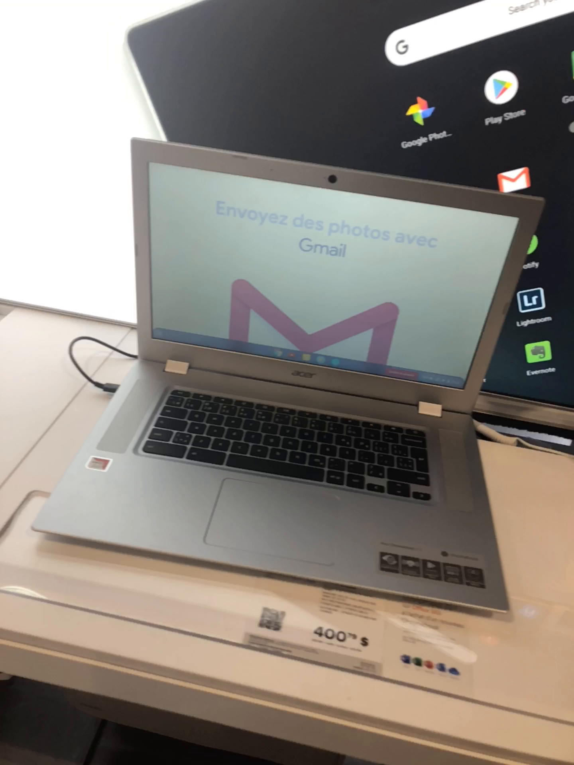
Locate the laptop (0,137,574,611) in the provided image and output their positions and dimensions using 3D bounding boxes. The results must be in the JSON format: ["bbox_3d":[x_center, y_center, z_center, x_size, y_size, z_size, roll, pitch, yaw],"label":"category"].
[{"bbox_3d":[0.012,-0.026,0.535,0.377,0.250,0.265,9,34,3],"label":"laptop"}]
